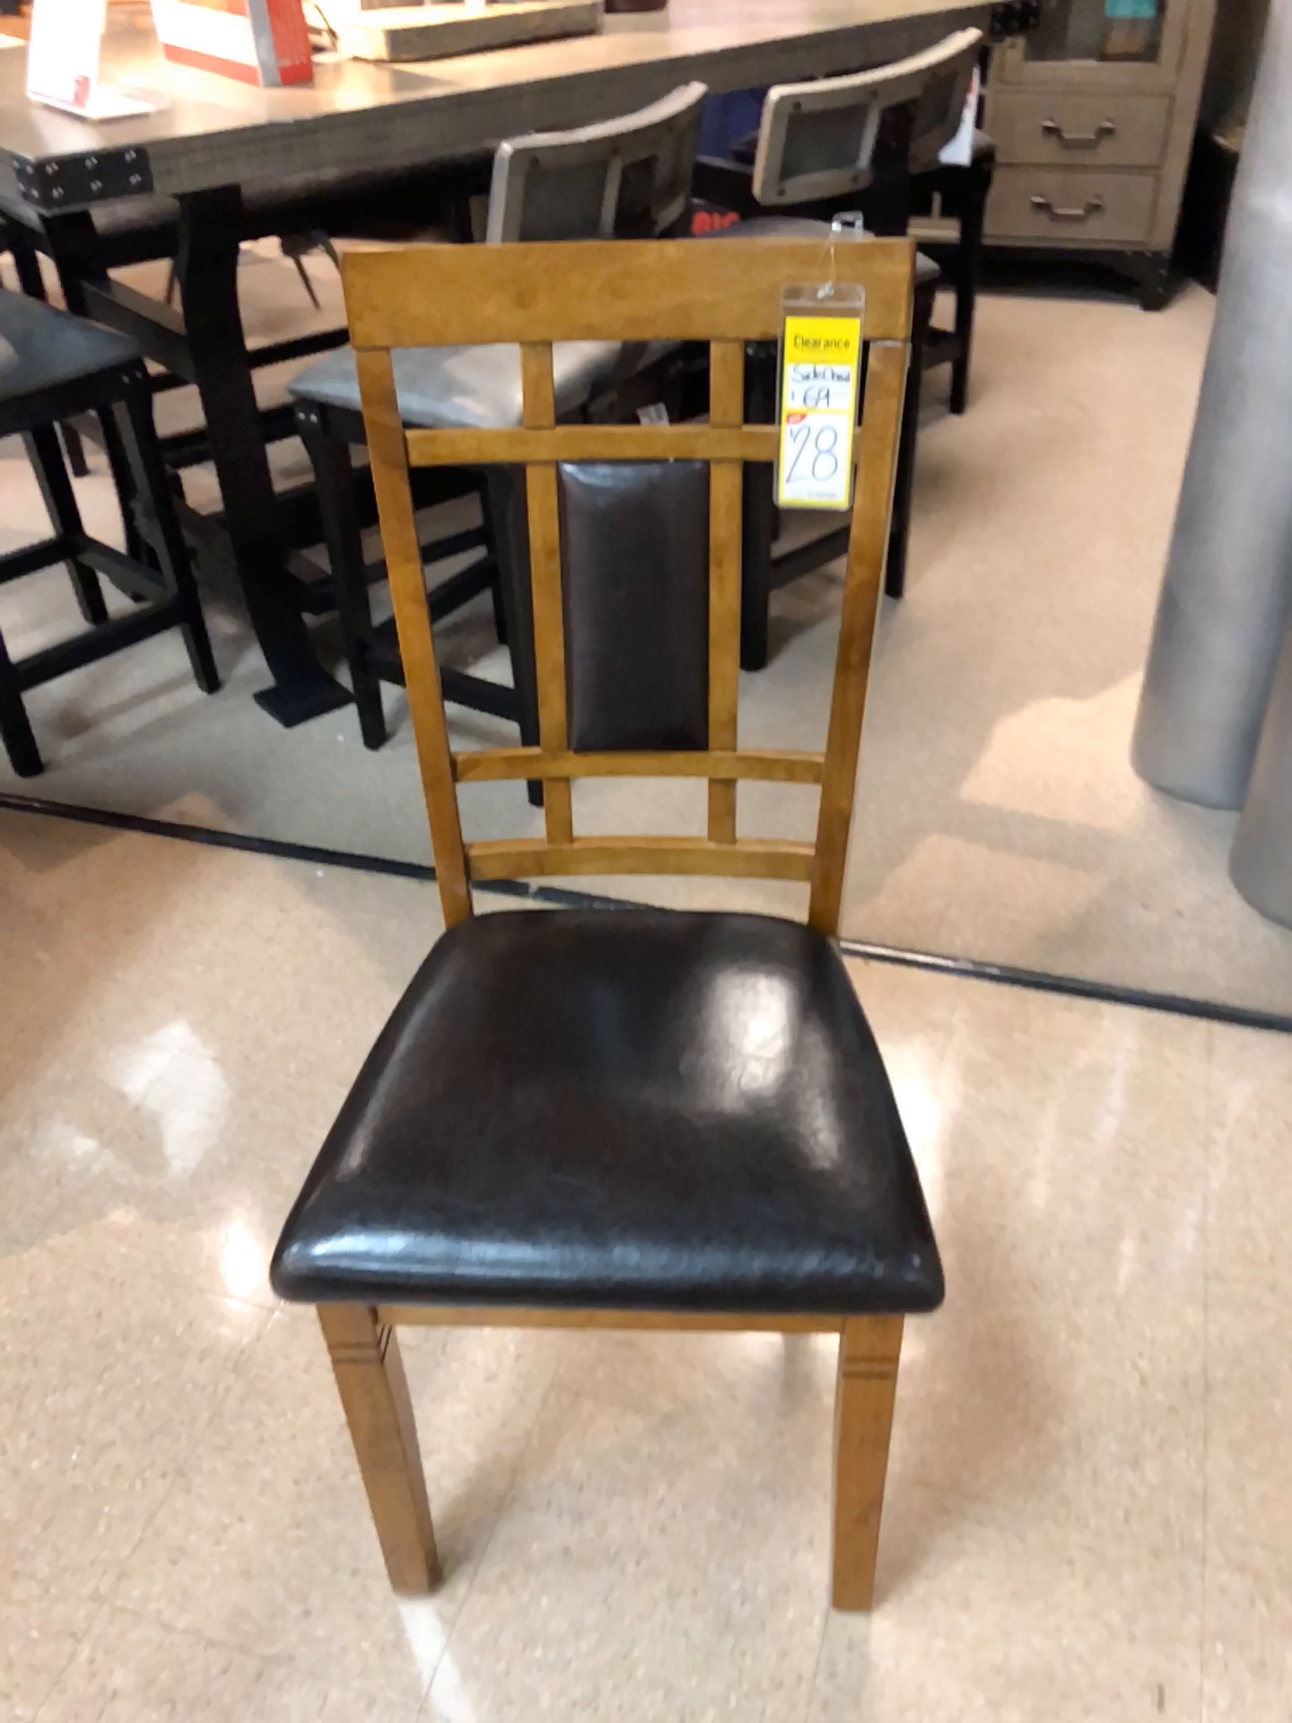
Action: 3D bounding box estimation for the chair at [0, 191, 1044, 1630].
[{"bbox_3d":[-0.034,0.088,1.087,0.450,0.993,0.504,0,38,4],"label":"chair"}]
